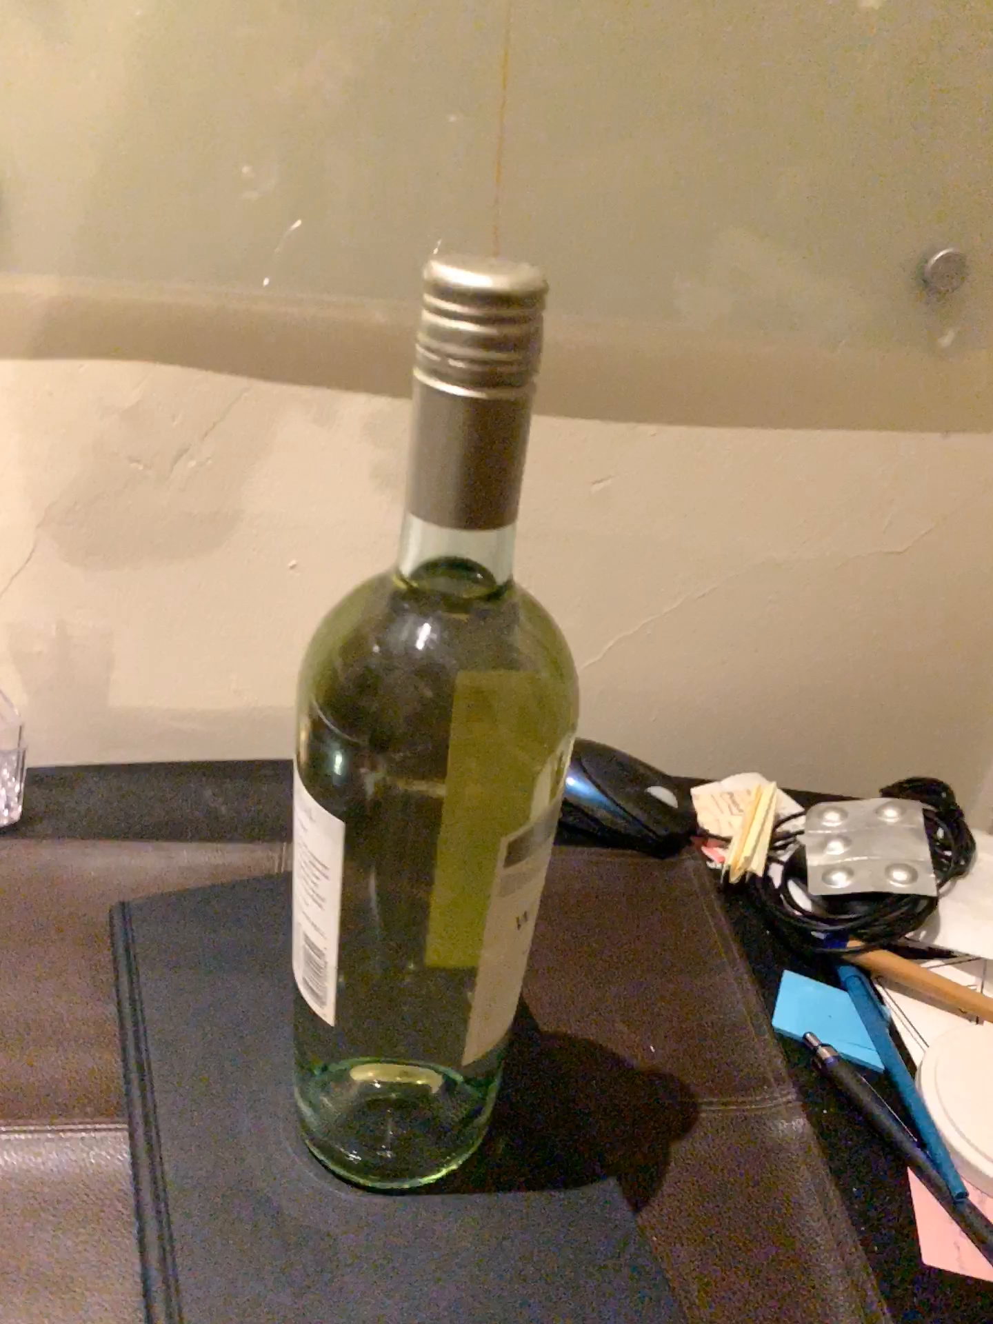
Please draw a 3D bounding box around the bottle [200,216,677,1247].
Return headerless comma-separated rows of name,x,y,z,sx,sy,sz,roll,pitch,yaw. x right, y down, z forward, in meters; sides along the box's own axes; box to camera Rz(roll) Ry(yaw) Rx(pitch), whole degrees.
bottle,-0.030,0.038,0.305,0.090,0.298,0.091,5,30,-3
